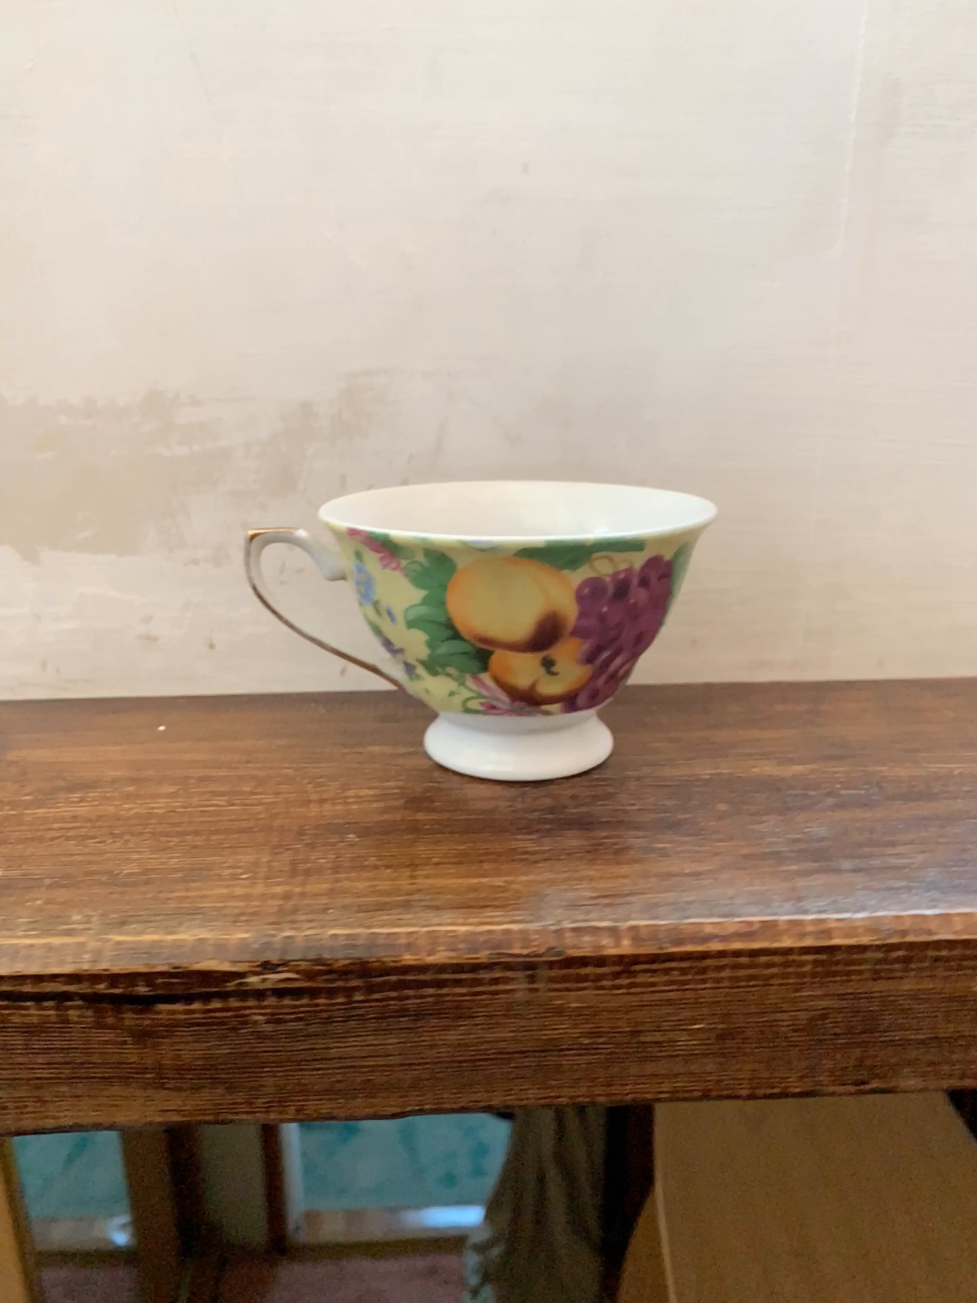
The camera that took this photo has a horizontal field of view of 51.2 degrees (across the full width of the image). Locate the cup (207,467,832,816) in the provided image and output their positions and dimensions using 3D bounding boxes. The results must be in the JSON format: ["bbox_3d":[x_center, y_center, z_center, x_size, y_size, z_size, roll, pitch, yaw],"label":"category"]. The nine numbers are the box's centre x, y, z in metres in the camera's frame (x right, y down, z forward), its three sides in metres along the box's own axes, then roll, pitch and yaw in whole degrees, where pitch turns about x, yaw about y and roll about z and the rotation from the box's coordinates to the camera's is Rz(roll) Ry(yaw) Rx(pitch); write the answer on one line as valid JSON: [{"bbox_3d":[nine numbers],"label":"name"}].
[{"bbox_3d":[0.003,-0.010,0.250,0.123,0.058,0.091,-2,17,-6],"label":"cup"}]
